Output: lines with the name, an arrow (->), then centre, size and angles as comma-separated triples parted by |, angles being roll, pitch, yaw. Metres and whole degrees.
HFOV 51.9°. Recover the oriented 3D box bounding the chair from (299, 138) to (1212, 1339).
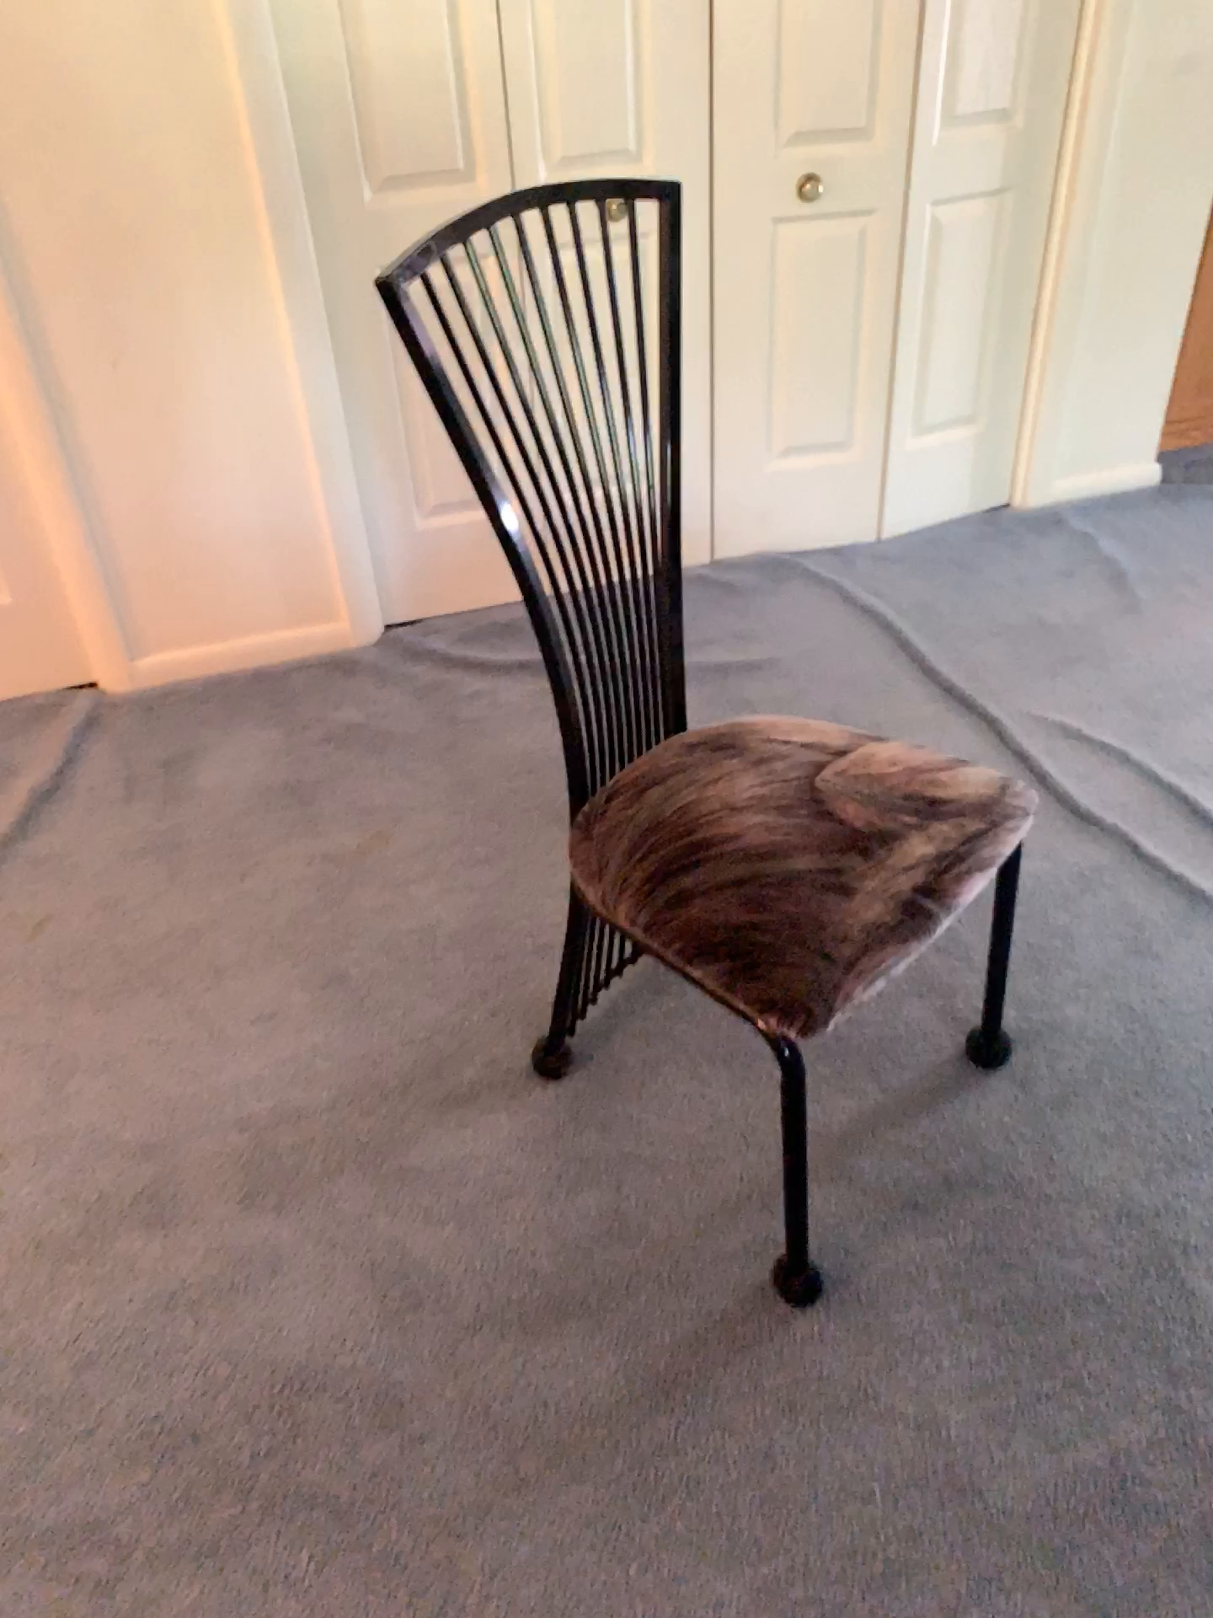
chair -> 0.154, -0.076, 1.267 | 0.541, 0.974, 0.512 | 24, 44, 32
